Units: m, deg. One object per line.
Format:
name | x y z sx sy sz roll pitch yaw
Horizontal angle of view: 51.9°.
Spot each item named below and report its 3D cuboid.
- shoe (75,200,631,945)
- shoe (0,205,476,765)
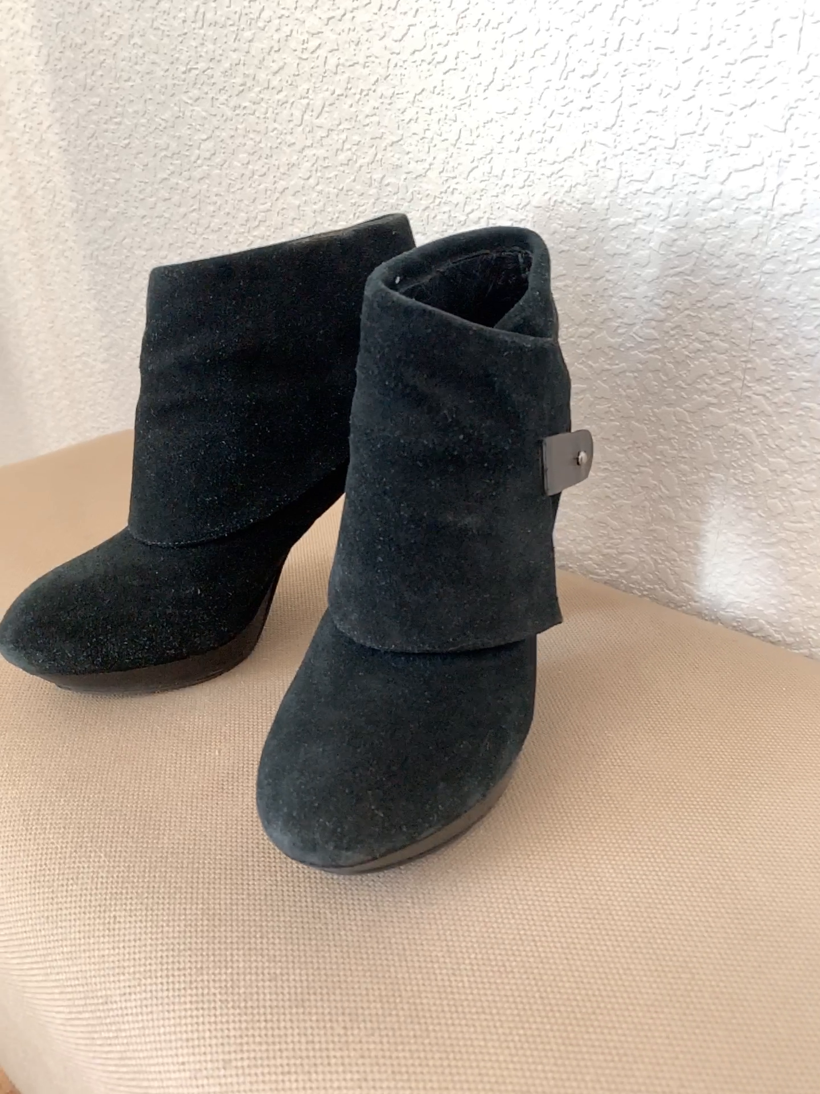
shoe | 0.009 -0.017 0.302 0.090 0.166 0.218 9 32 19
shoe | -0.086 -0.040 0.363 0.217 0.166 0.090 -20 35 -27
